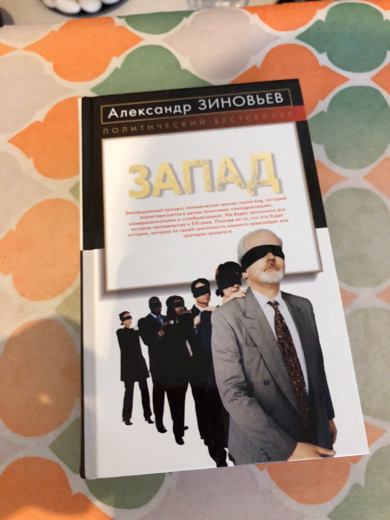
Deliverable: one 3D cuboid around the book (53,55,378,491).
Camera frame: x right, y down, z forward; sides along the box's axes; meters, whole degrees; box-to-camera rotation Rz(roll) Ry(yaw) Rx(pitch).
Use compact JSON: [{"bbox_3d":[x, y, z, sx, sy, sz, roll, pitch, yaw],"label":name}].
[{"bbox_3d":[0.001,-0.004,0.242,0.140,0.040,0.221,-5,71,1],"label":"book"}]
